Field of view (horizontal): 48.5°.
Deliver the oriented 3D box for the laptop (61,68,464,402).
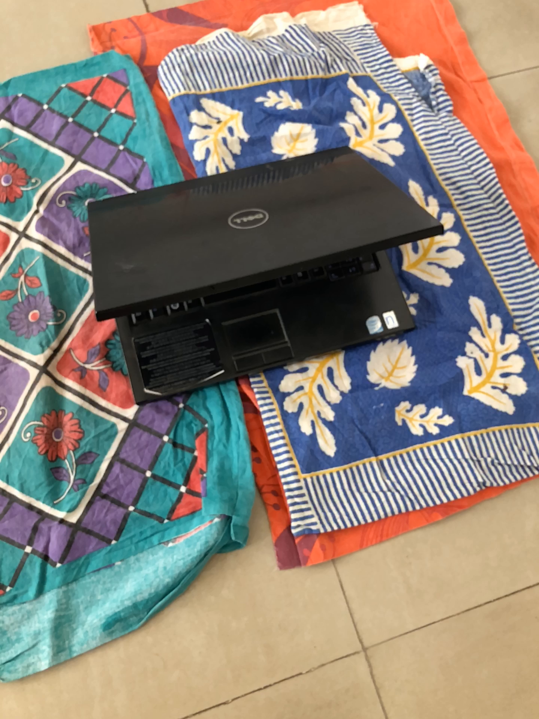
[{"bbox_3d":[-0.015,-0.122,0.597,0.299,0.144,0.235,-15,71,-8],"label":"laptop"}]
